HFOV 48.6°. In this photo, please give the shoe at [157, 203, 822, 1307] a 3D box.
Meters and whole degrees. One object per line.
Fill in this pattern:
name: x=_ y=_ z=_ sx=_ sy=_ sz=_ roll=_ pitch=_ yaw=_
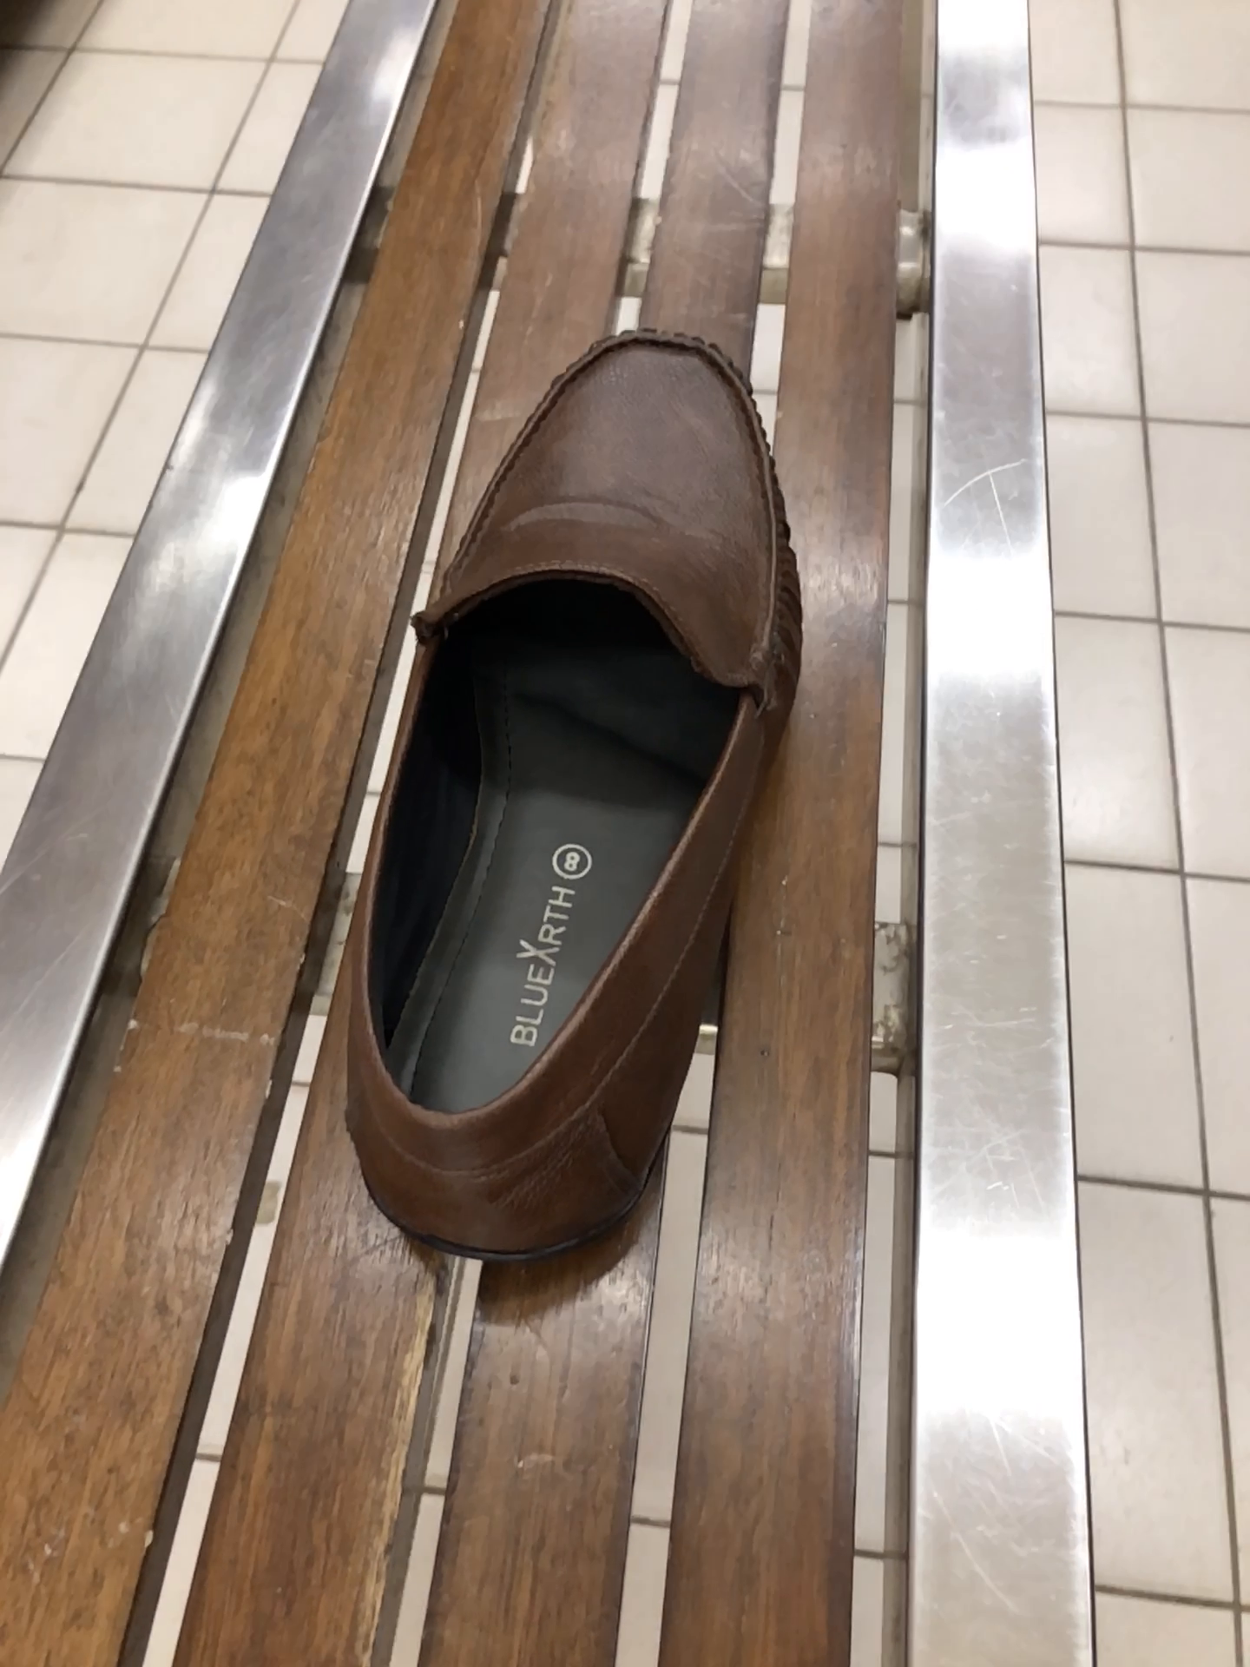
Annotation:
shoe: x=-0.016 y=-0.035 z=0.368 sx=0.090 sy=0.090 sz=0.281 roll=9 pitch=60 yaw=8
